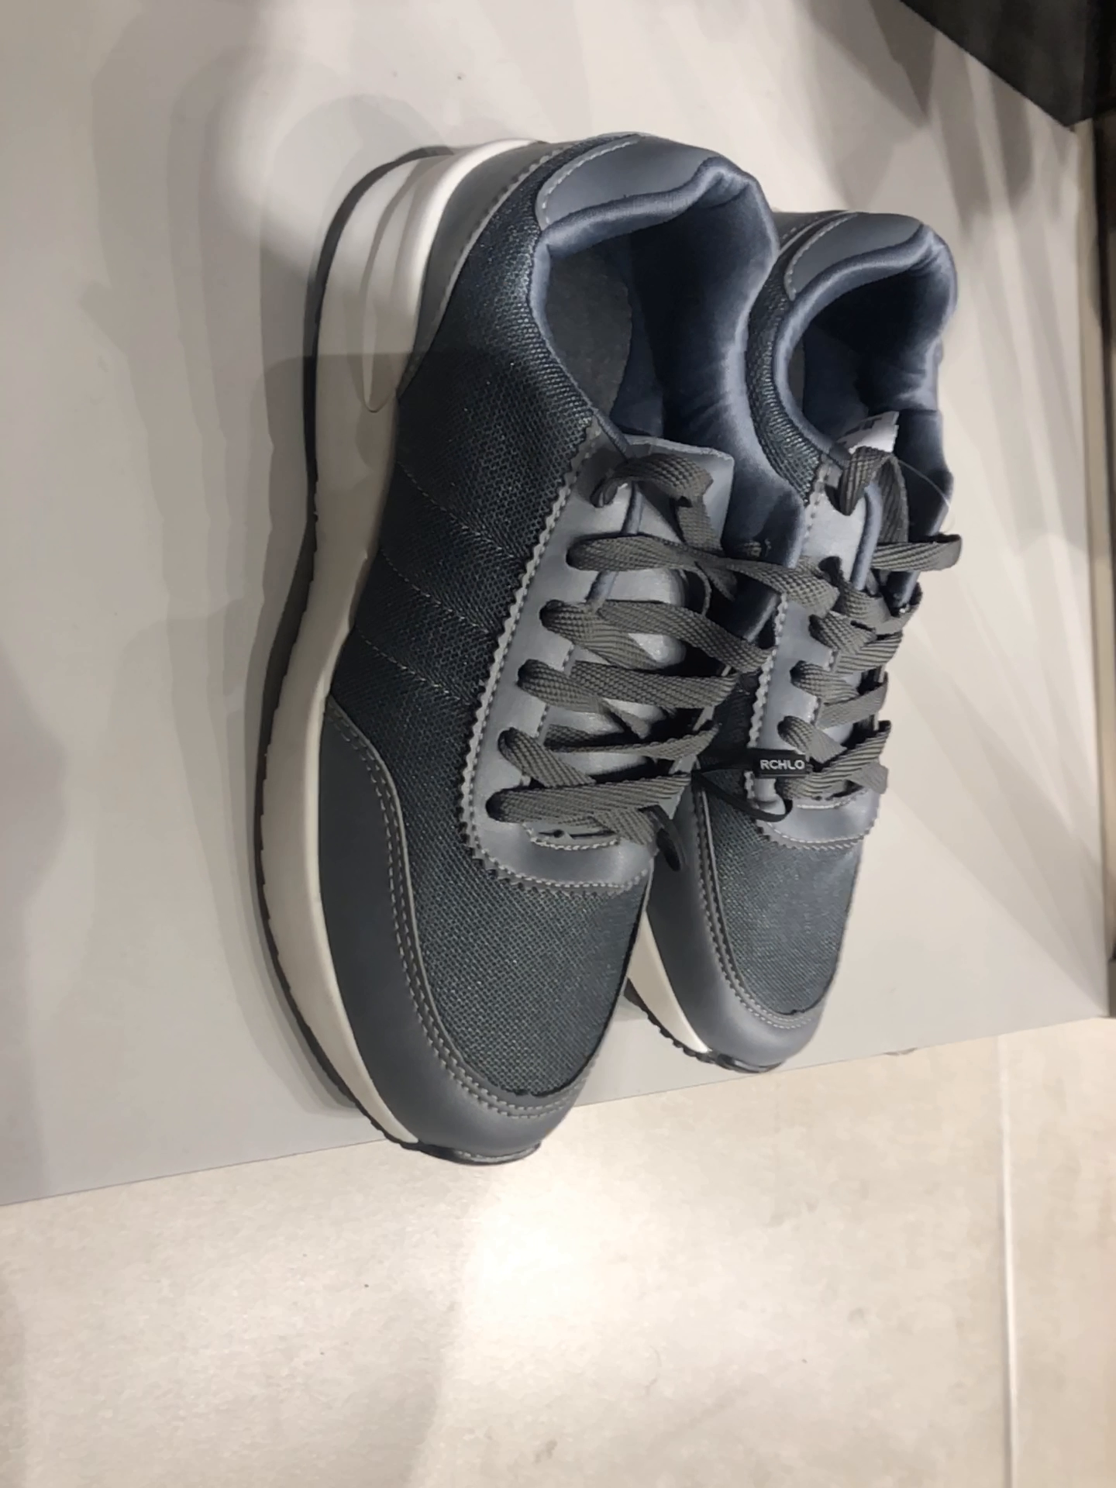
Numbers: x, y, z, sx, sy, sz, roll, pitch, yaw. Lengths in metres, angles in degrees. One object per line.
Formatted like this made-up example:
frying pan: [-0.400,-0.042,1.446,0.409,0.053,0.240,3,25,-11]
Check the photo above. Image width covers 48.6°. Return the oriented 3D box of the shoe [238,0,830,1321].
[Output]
shoe: [-0.007,-0.024,0.321,0.111,0.099,0.280,4,84,-41]

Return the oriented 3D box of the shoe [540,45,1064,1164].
shoe: [0.073,-0.034,0.381,0.111,0.099,0.280,1,86,-41]
